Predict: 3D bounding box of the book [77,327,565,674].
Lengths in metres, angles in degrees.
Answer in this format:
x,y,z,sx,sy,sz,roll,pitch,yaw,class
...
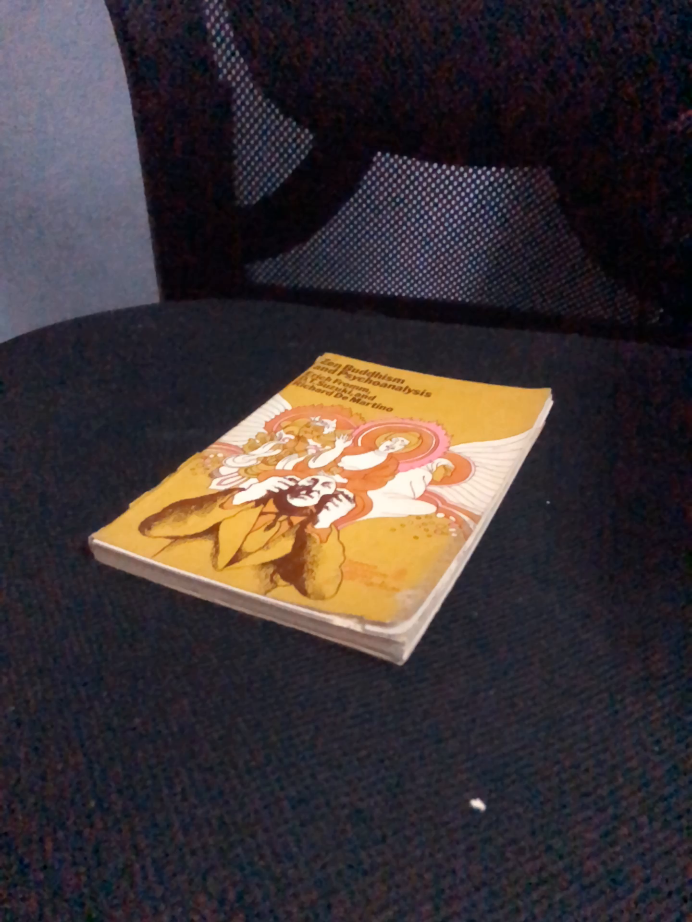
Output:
x,y,z,sx,sy,sz,roll,pitch,yaw,class
0.006,-0.004,0.339,0.136,0.020,0.201,14,35,22,book
